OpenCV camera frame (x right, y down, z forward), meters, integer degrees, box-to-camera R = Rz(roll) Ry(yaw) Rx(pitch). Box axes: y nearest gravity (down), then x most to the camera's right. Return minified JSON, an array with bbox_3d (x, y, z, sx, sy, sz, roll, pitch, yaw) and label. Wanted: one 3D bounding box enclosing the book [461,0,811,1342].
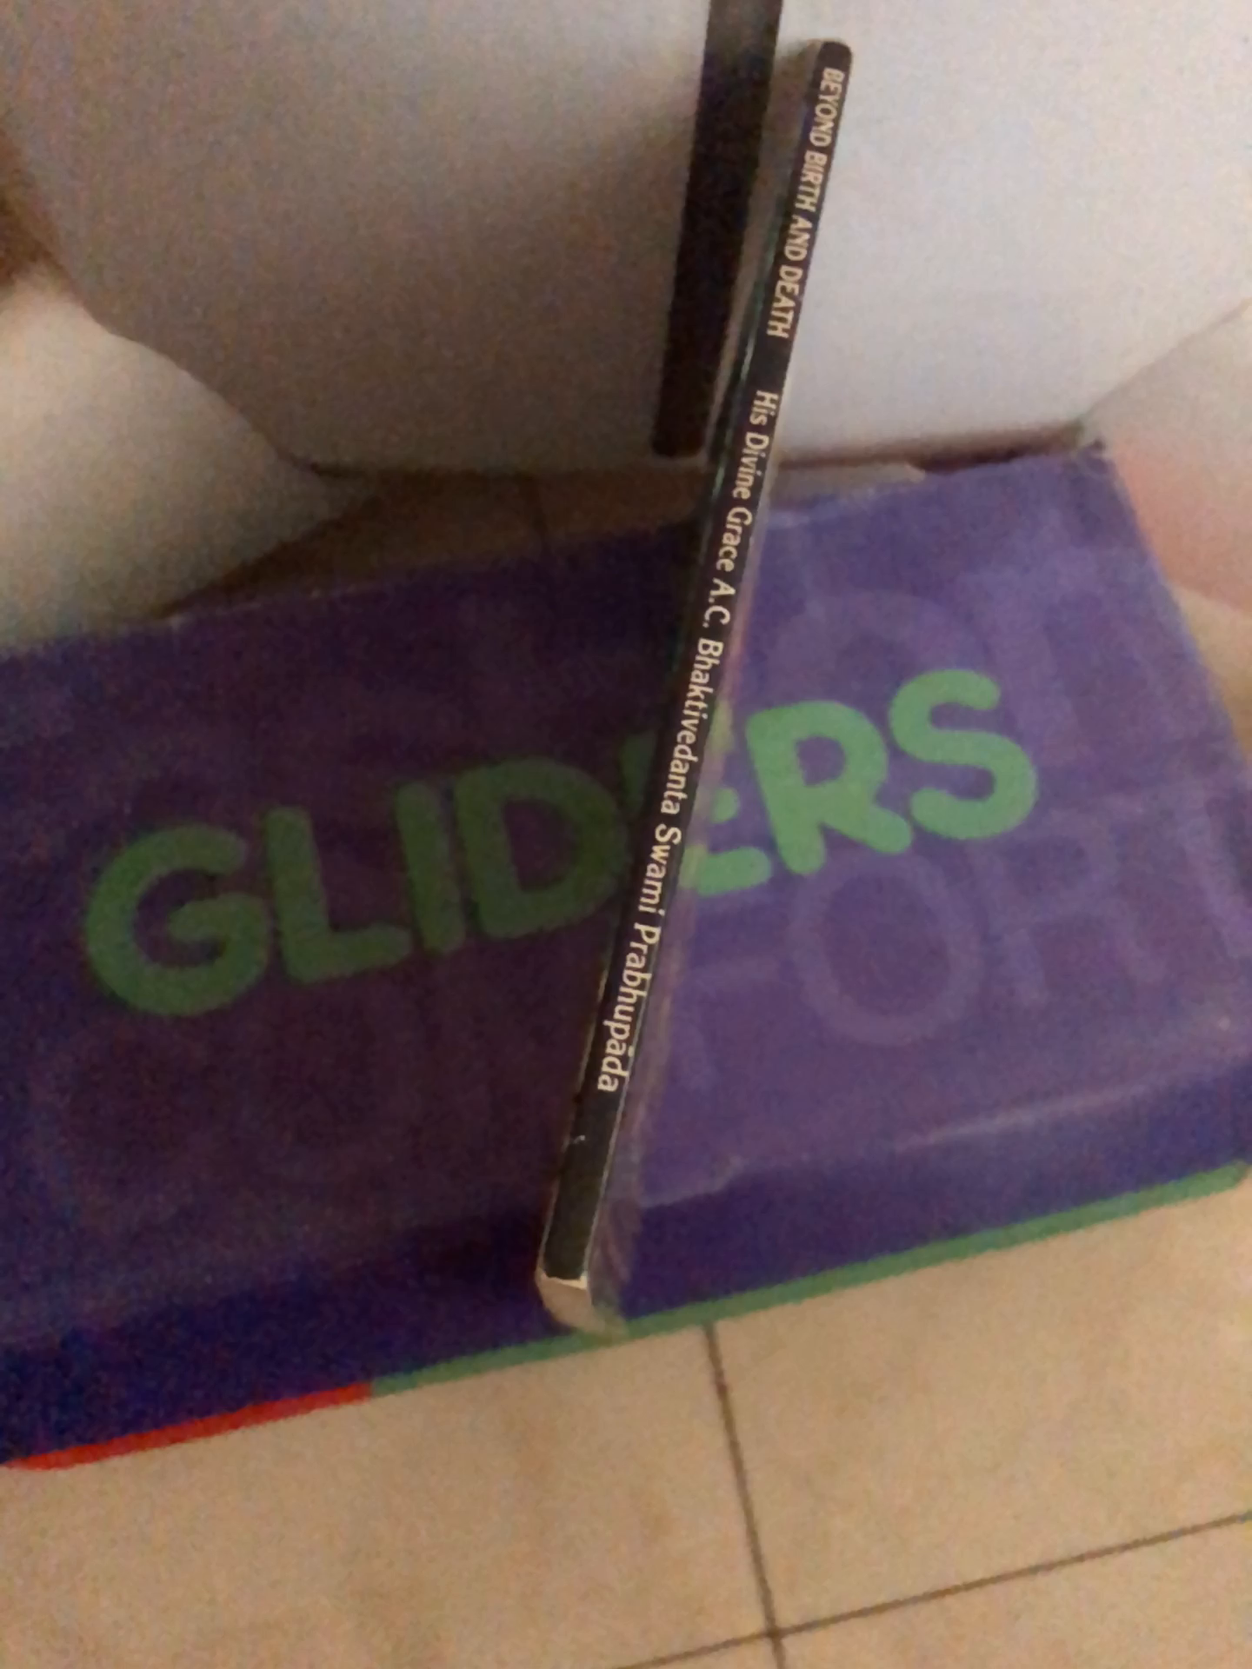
[{"bbox_3d":[0.003,-0.022,0.230,0.010,0.120,0.190,11,66,1],"label":"book"}]
